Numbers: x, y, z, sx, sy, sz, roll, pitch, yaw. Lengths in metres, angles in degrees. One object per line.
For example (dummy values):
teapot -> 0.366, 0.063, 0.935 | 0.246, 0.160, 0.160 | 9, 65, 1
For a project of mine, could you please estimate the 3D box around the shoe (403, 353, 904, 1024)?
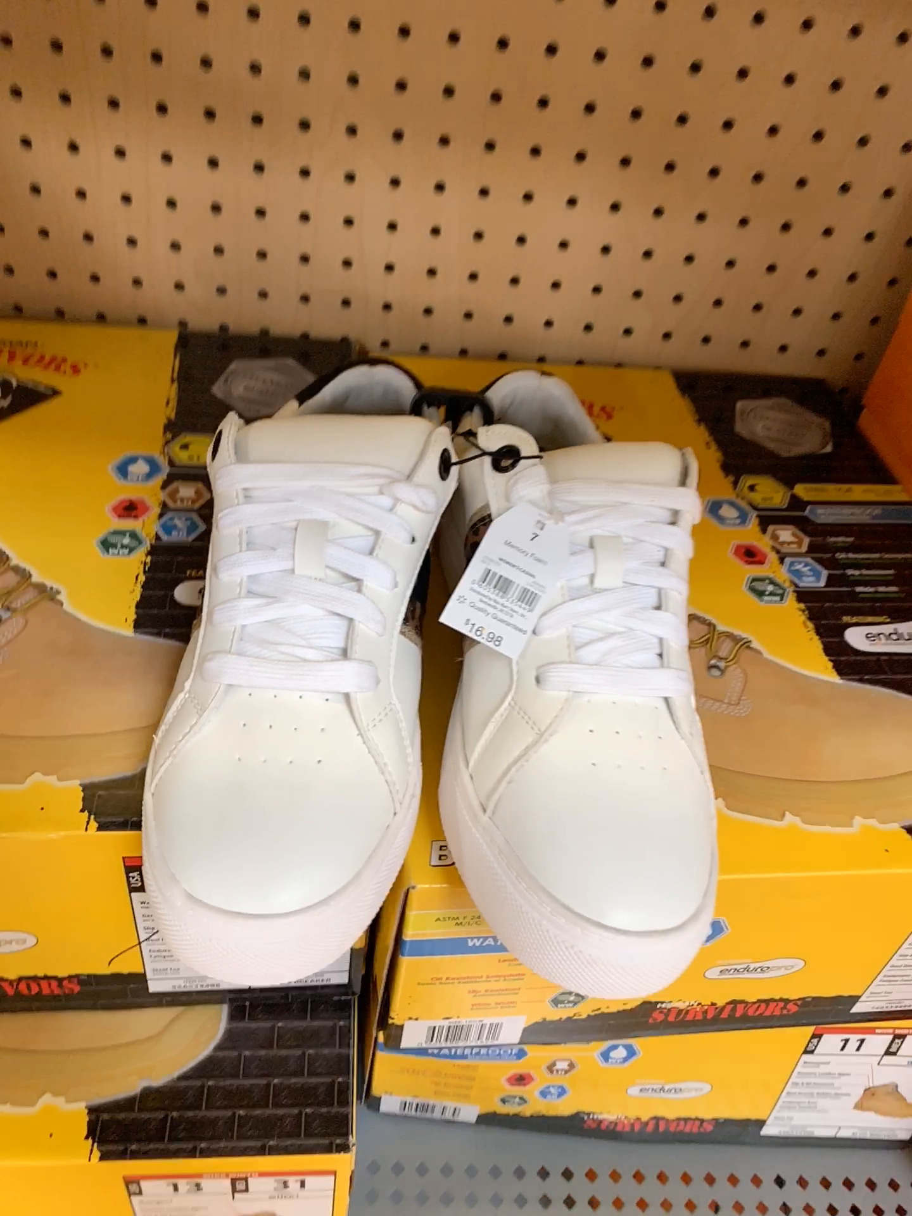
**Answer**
shoe -> 0.044, 0.009, 0.334 | 0.102, 0.070, 0.241 | 3, 45, -11

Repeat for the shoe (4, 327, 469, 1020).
shoe -> -0.052, 0.001, 0.328 | 0.100, 0.072, 0.246 | 6, 45, -3
